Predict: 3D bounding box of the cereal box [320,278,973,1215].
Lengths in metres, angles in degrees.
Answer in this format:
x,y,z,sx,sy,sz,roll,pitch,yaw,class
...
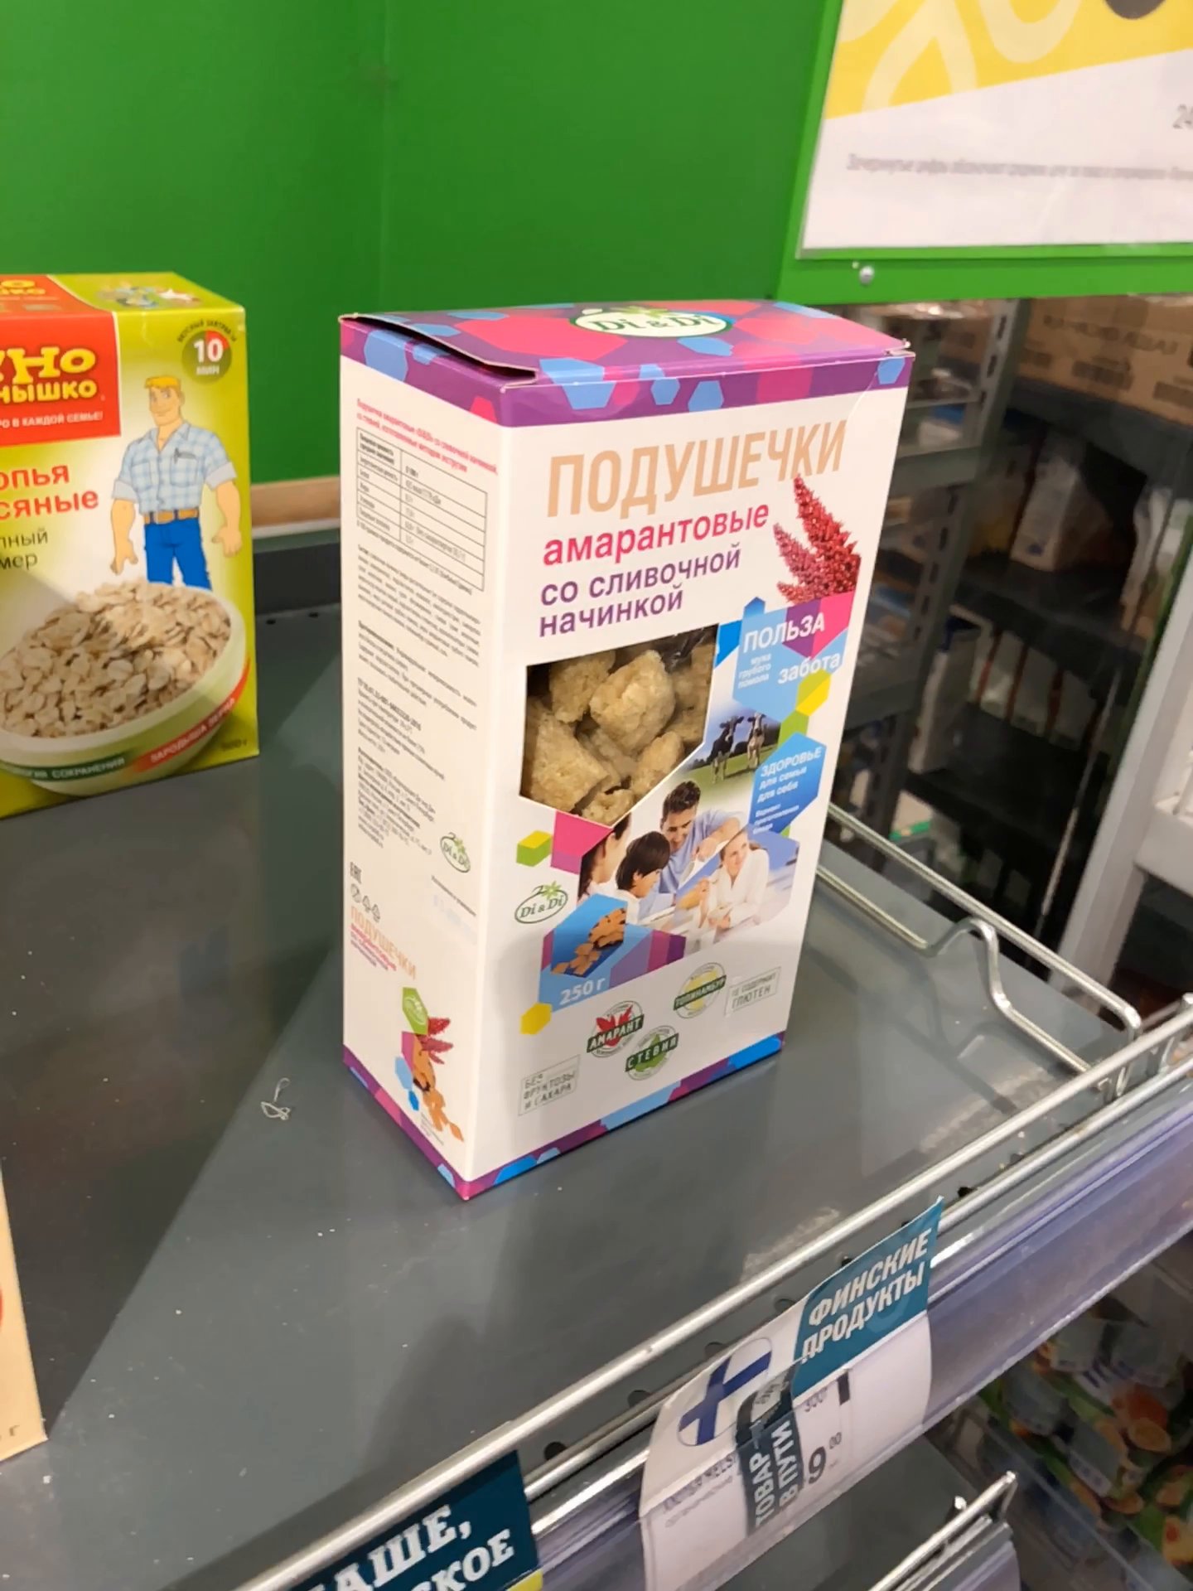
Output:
x,y,z,sx,sy,sz,roll,pitch,yaw,class
0.004,-0.018,0.376,0.140,0.229,0.080,-16,36,-35,cereal box
